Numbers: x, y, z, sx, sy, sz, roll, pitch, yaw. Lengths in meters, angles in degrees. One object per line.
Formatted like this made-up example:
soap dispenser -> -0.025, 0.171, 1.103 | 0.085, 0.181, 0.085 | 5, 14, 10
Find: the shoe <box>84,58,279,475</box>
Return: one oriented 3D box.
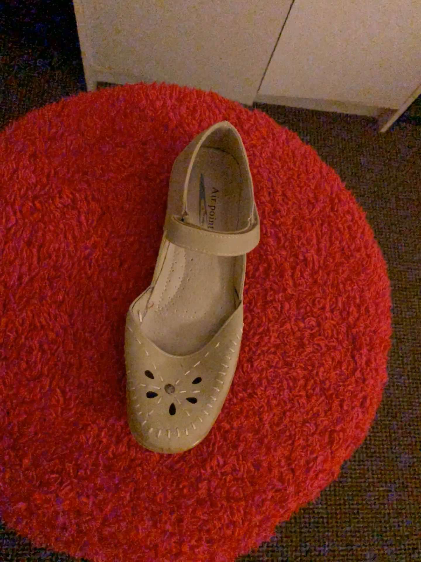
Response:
shoe -> -0.015, -0.020, 0.352 | 0.095, 0.080, 0.307 | 10, 72, -6
